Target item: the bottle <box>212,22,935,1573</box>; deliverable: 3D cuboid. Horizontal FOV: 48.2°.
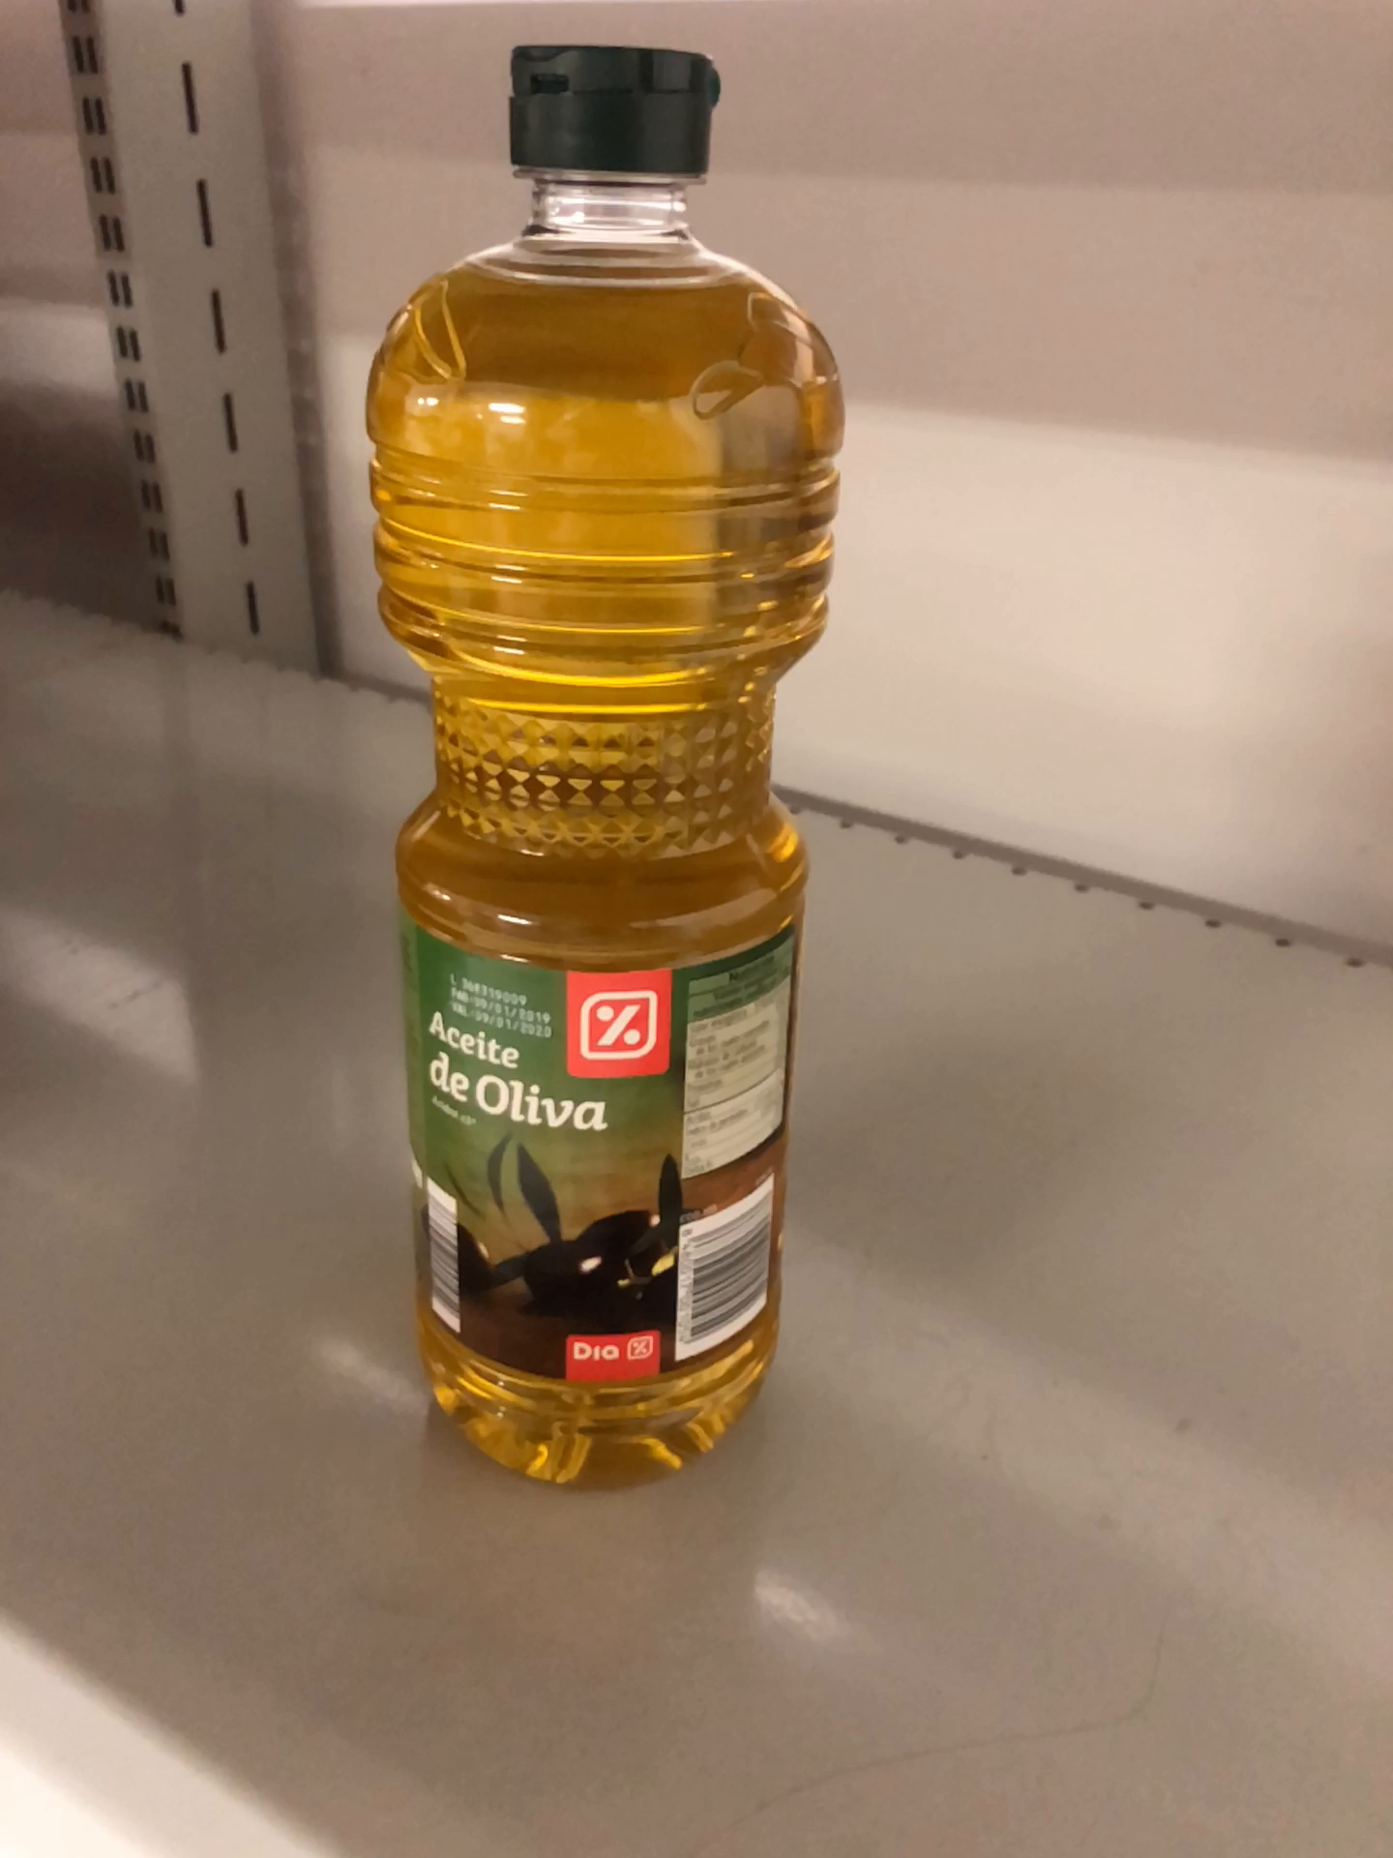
[{"bbox_3d":[-0.016,-0.009,0.265,0.080,0.248,0.060,9,29,12],"label":"bottle"}]
